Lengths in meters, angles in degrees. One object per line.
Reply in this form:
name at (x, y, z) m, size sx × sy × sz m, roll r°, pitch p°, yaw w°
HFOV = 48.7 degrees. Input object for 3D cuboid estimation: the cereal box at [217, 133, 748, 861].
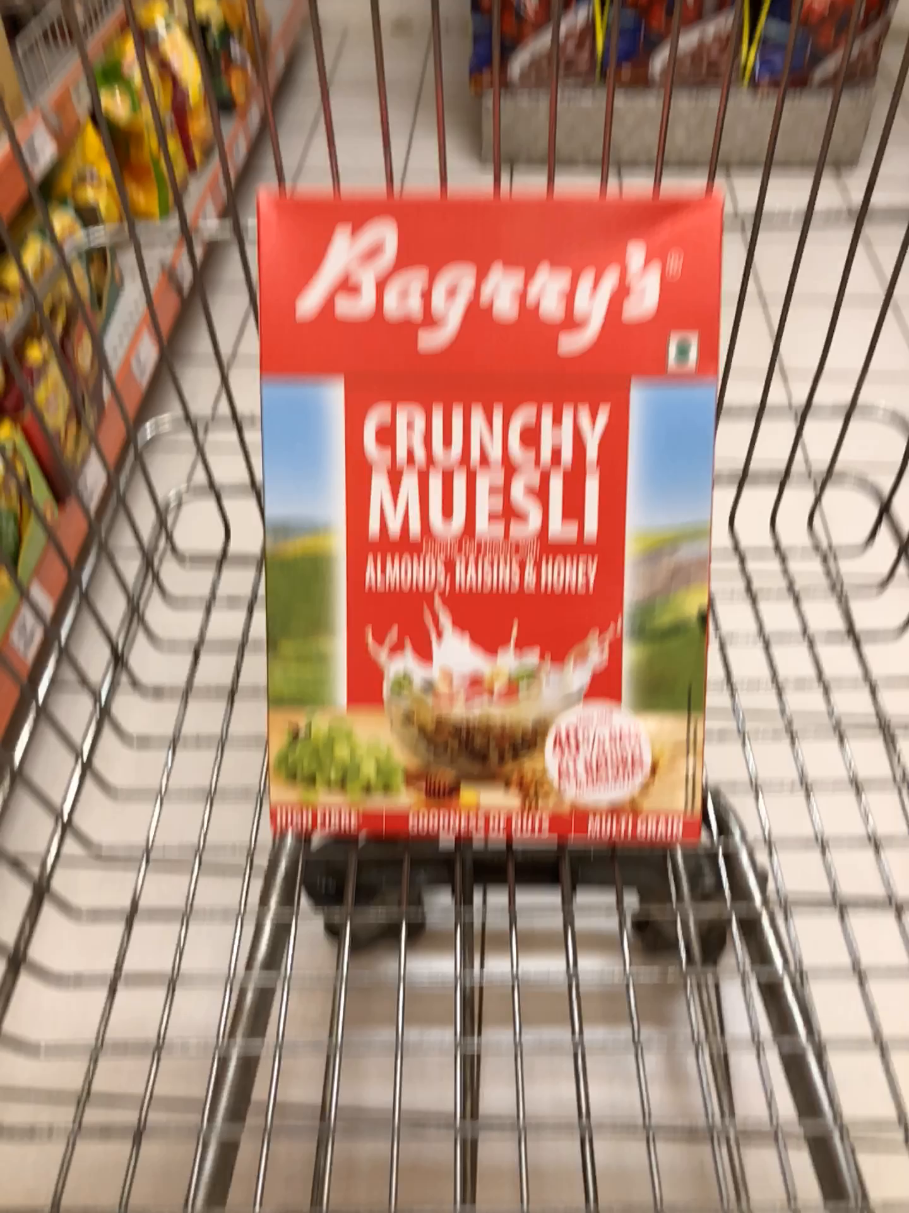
cereal box at (0.009, -0.039, 0.419) m, size 0.190 × 0.279 × 0.060 m, roll 1°, pitch 12°, yaw 2°
